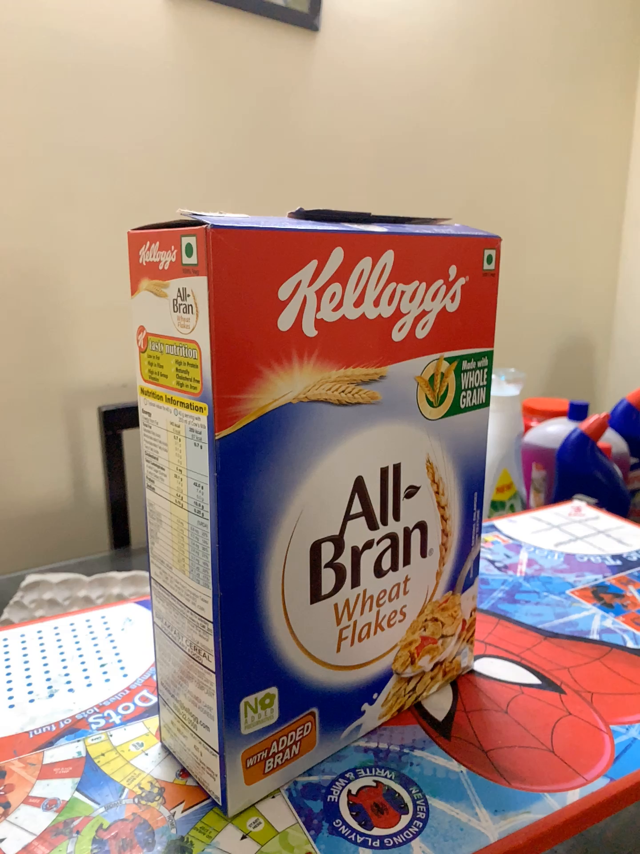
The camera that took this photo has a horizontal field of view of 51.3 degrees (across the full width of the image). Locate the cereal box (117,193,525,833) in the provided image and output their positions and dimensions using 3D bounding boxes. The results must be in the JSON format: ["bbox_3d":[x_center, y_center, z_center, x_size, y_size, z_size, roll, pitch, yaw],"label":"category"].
[{"bbox_3d":[0.012,0.025,0.327,0.190,0.249,0.060,-11,17,-39],"label":"cereal box"}]
